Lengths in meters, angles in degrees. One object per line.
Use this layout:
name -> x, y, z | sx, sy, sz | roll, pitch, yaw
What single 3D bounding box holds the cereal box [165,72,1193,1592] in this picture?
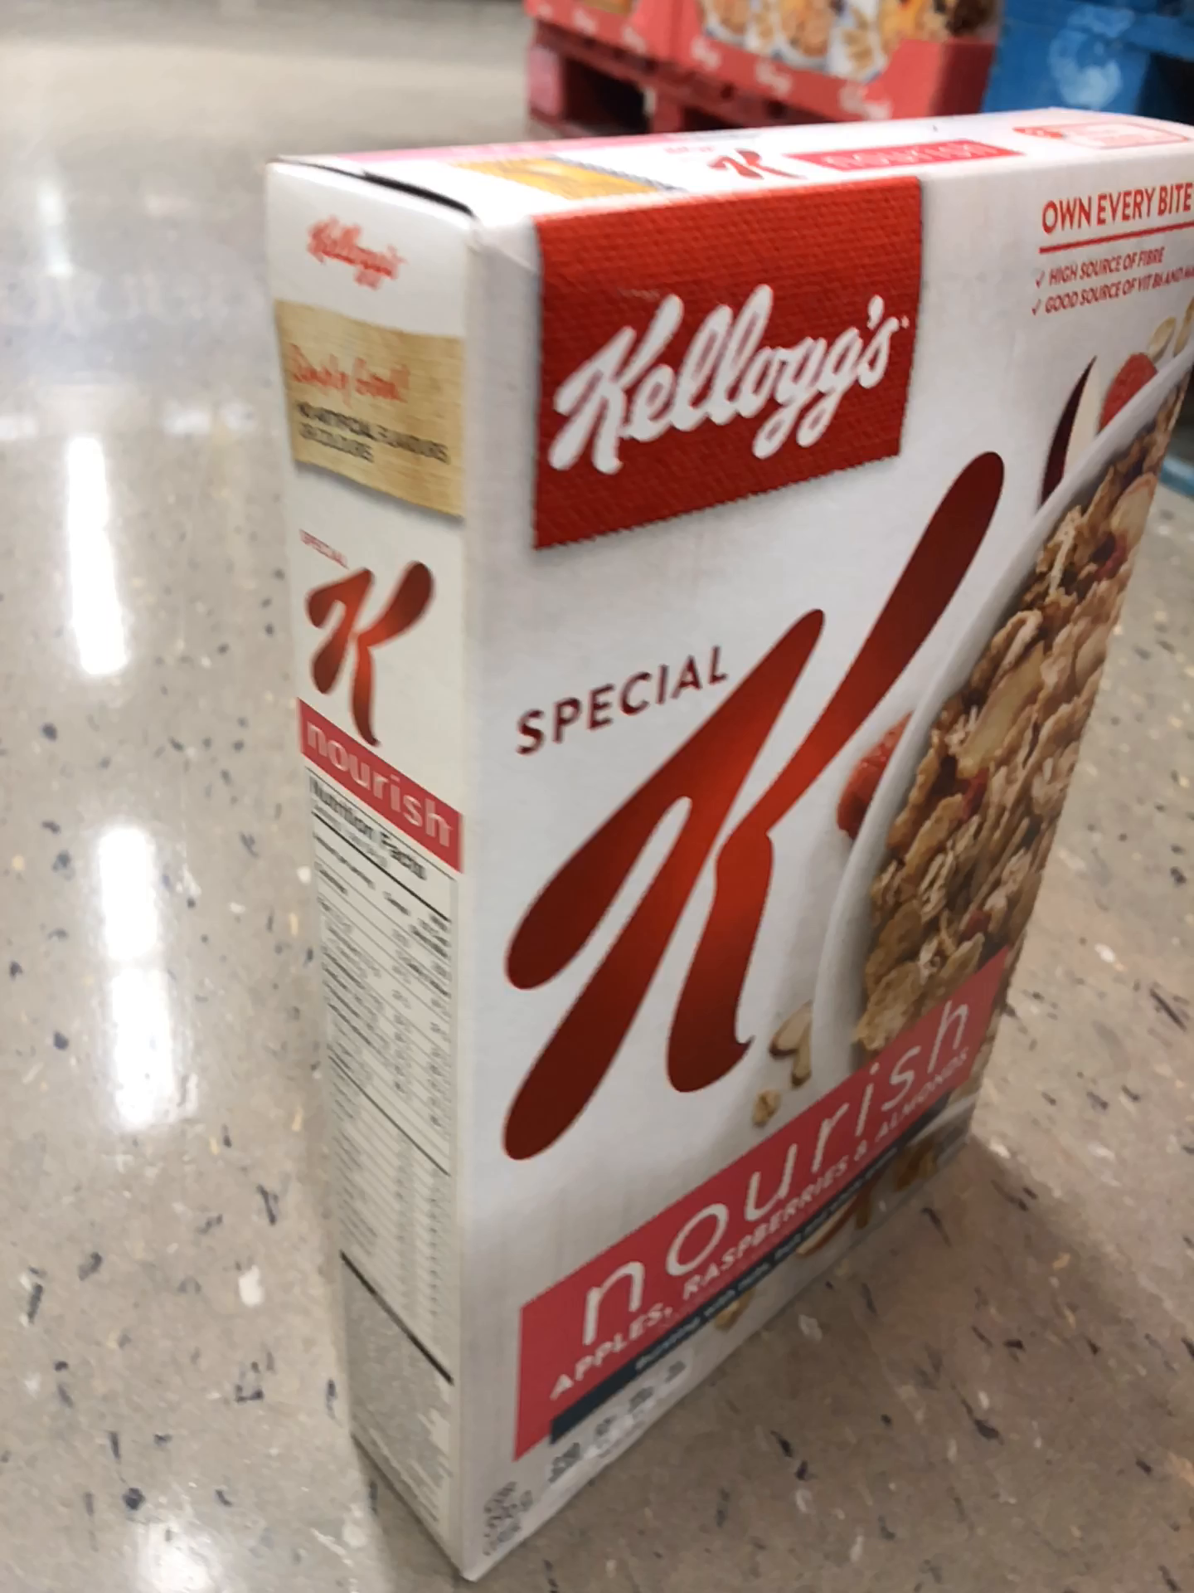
cereal box -> 0.032, 0.016, 0.280 | 0.211, 0.289, 0.050 | -25, 44, -38
